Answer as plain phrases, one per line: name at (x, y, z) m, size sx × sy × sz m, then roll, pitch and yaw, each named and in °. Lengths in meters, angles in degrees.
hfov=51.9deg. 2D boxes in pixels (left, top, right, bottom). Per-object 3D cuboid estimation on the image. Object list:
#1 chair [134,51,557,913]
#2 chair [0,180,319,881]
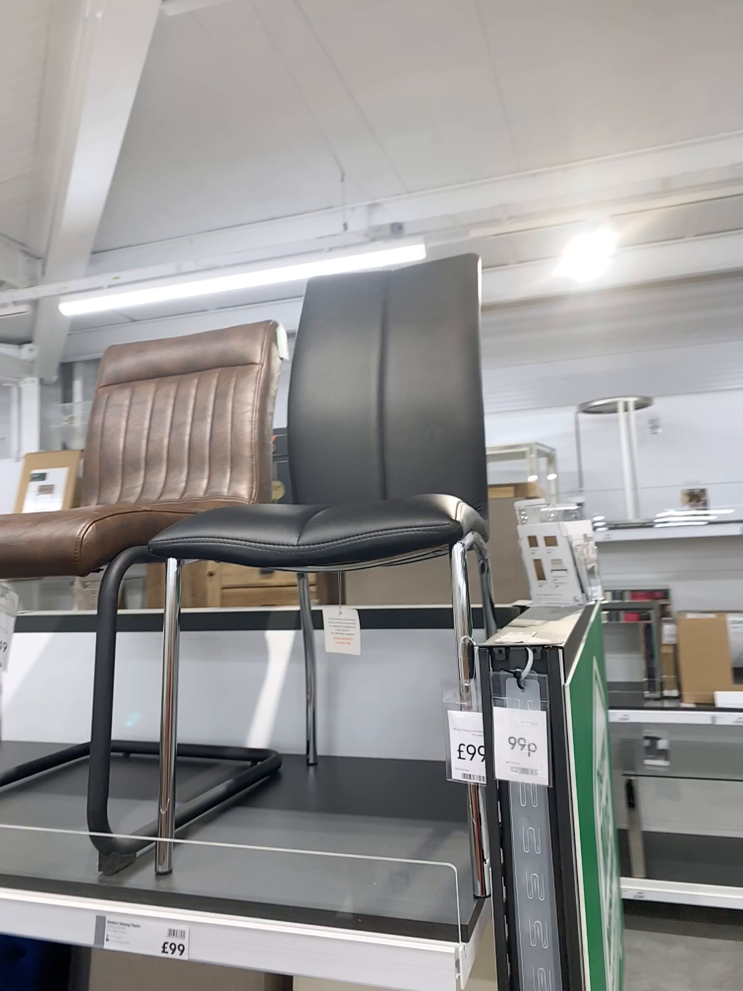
chair at (0.002, -0.011, 1.222) m, size 0.474 × 0.996 × 0.582 m, roll -4°, pitch -6°, yaw 17°
chair at (-0.482, 0.057, 1.331) m, size 0.554 × 0.885 × 0.582 m, roll -4°, pitch -6°, yaw 20°
